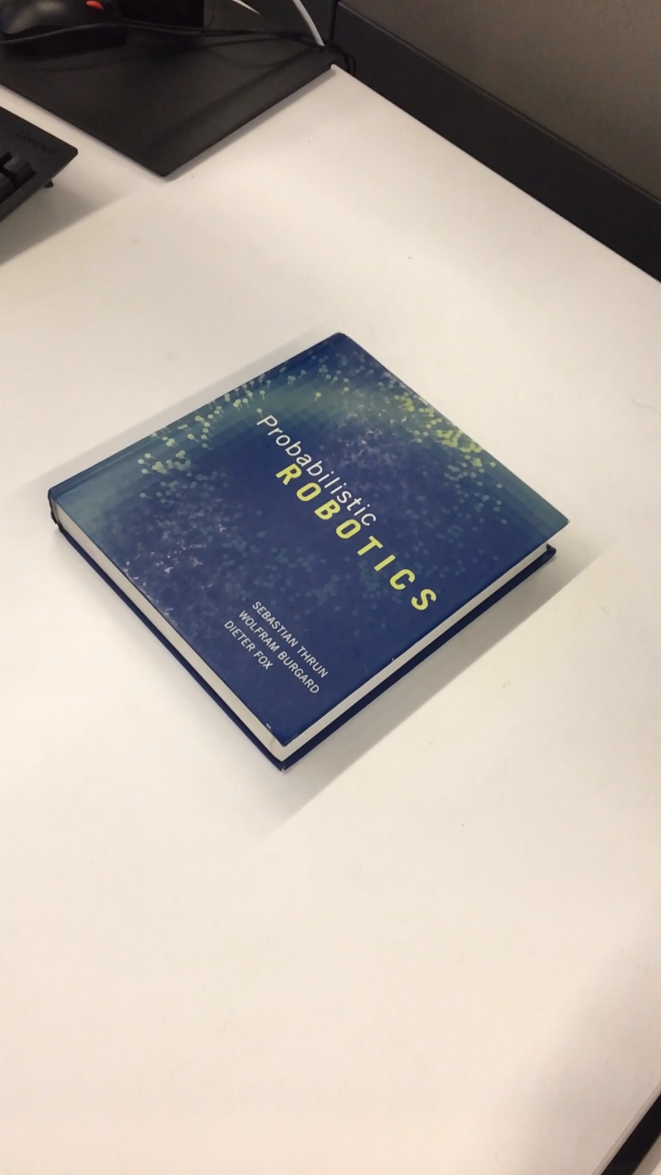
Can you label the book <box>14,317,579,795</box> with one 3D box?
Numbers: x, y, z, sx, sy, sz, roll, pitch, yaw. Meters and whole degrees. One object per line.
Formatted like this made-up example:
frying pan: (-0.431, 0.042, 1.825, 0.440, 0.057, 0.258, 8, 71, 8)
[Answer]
book: (-0.016, -0.037, 0.578, 0.240, 0.030, 0.220, -36, 68, -26)
